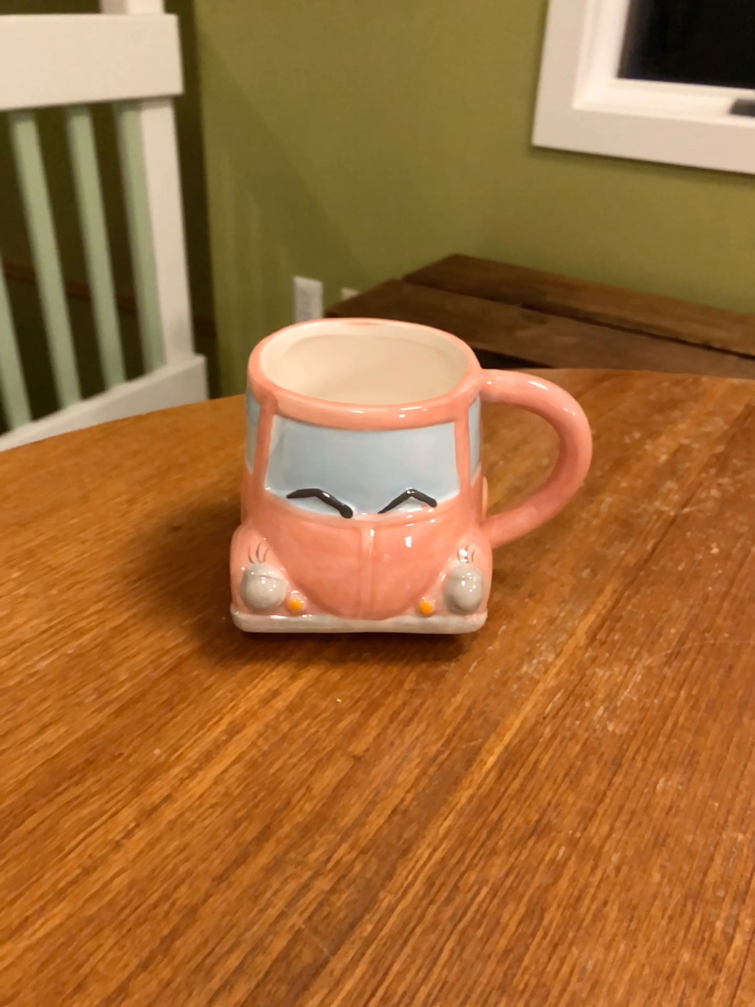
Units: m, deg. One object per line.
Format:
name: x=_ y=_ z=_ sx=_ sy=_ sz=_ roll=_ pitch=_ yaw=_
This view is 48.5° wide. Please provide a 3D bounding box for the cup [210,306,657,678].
cup: x=0.015 y=-0.011 z=0.339 sx=0.139 sy=0.097 sz=0.128 roll=1 pitch=31 yaw=-1
